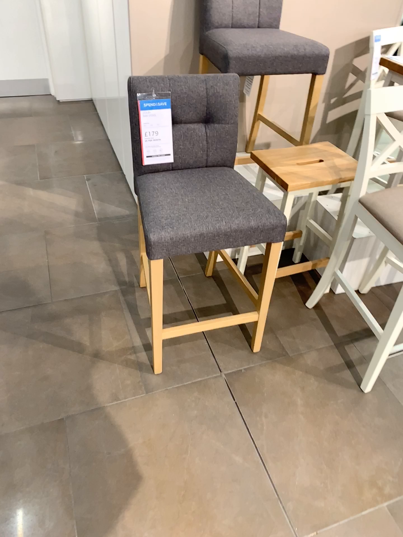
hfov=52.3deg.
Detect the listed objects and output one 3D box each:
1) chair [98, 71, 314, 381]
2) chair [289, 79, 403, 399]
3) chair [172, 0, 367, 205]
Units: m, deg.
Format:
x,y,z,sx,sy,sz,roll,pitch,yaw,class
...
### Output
x,y,z,sx,sy,sz,roll,pitch,yaw,class
-0.042,-0.143,1.469,0.487,0.908,0.523,-10,40,-16,chair
0.738,-0.090,1.446,0.507,0.938,0.503,-10,40,-17,chair
0.207,-0.855,1.830,0.547,0.918,0.543,-10,40,-17,chair
